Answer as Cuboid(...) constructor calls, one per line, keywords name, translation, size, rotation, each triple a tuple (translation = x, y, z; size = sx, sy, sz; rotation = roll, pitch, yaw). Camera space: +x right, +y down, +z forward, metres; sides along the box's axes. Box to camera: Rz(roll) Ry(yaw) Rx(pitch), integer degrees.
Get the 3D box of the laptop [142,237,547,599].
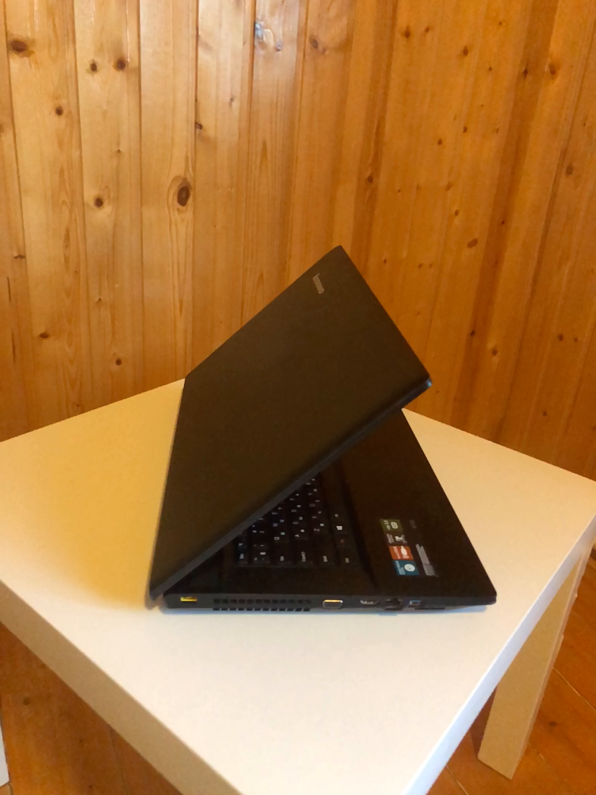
Cuboid(name="laptop", translation=(0.012, -0.016, 0.653), size=(0.271, 0.184, 0.412), rotation=(2, 25, -6))
